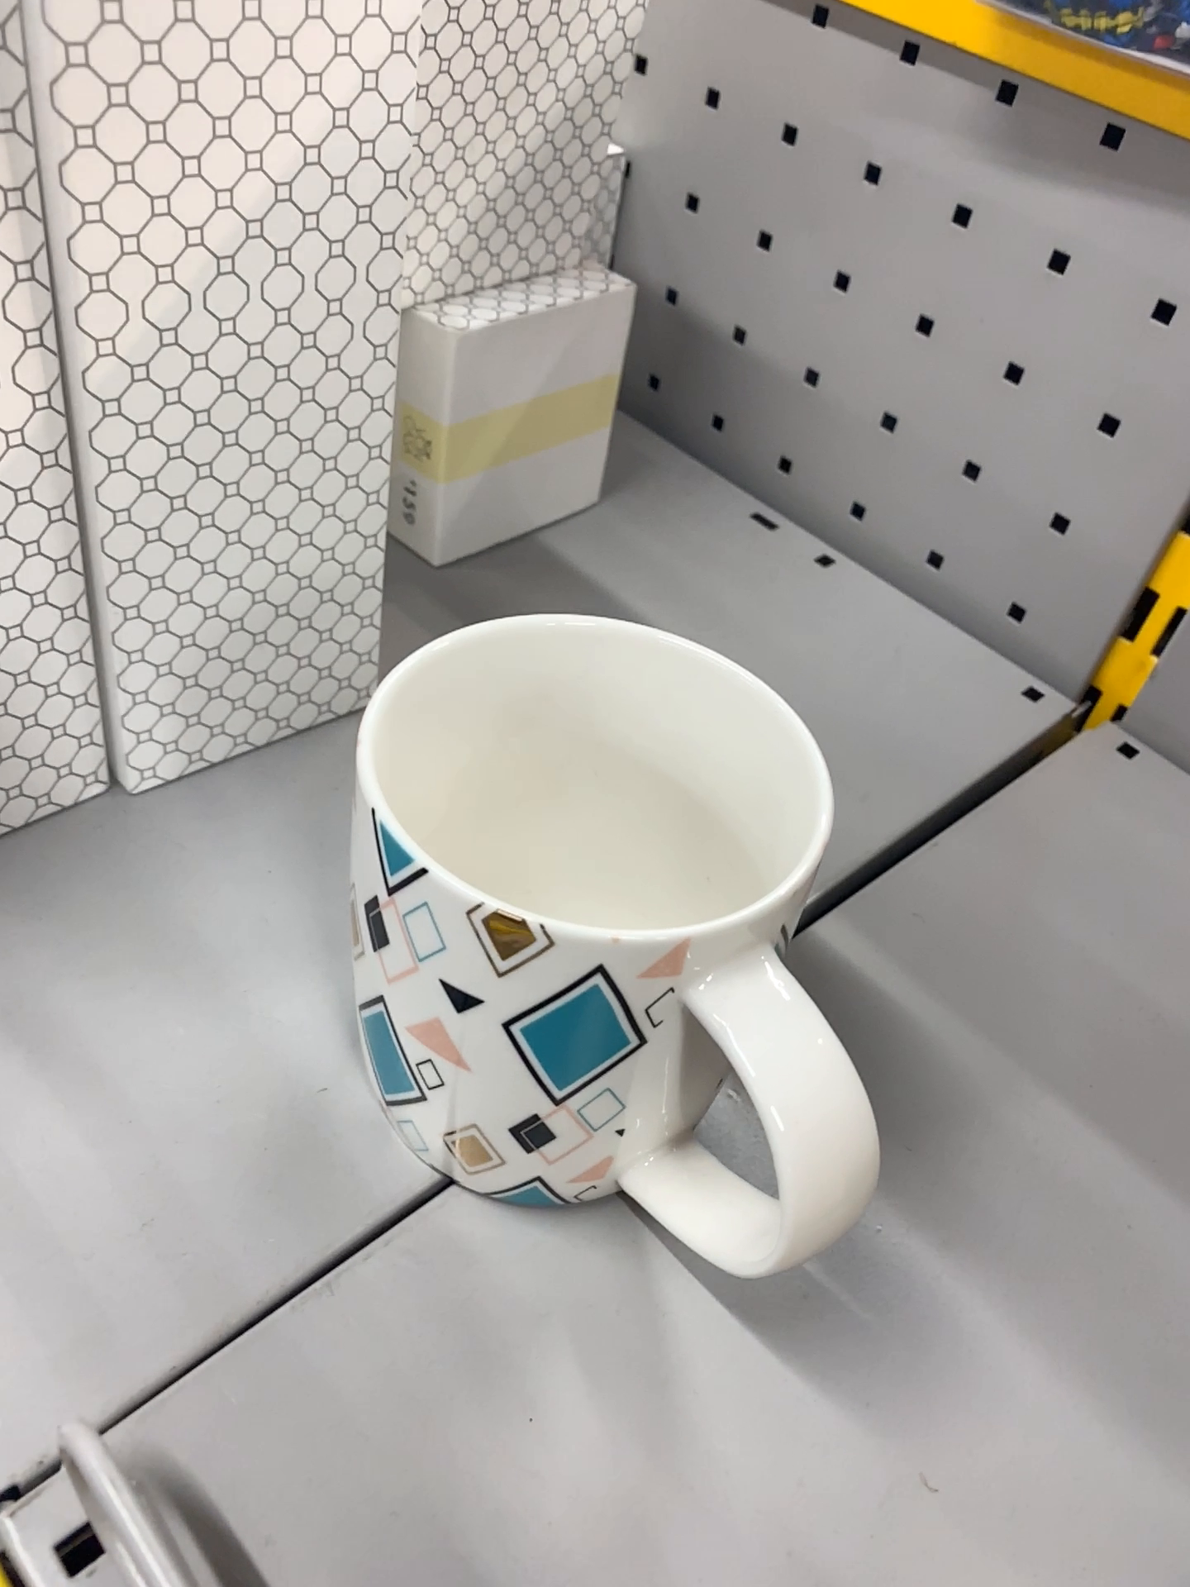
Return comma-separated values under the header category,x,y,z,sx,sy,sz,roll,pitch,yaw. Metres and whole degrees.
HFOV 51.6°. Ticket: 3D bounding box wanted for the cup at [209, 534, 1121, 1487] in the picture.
category,x,y,z,sx,sy,sz,roll,pitch,yaw
cup,0.002,0.031,0.234,0.100,0.090,0.120,-22,54,-32
